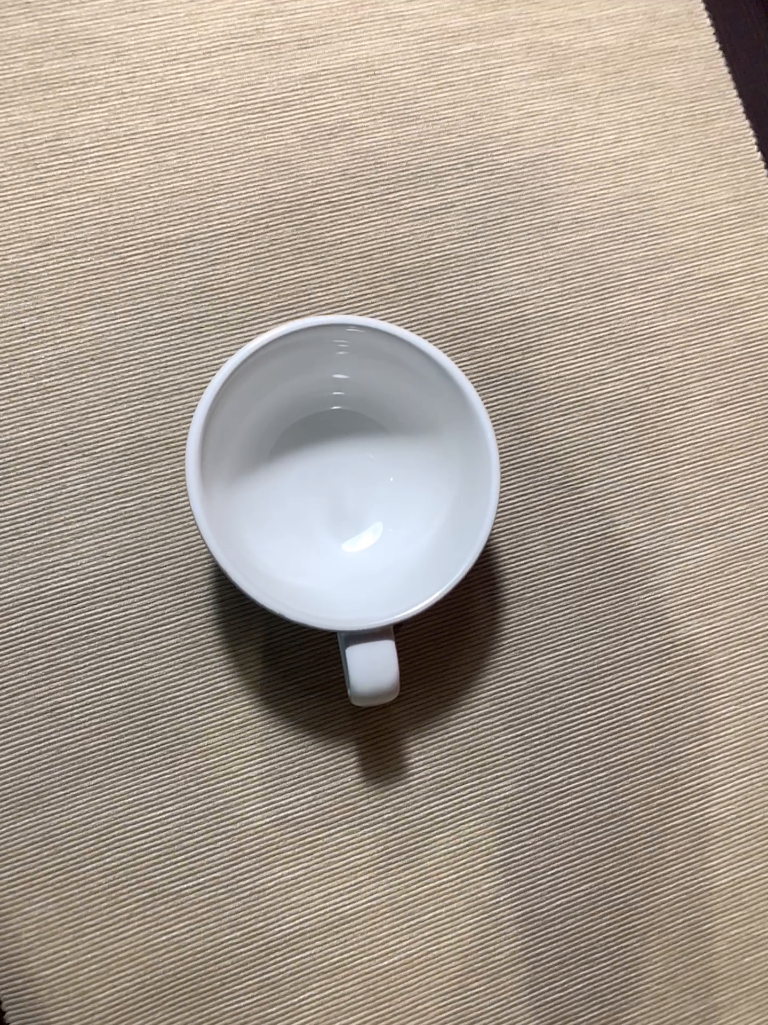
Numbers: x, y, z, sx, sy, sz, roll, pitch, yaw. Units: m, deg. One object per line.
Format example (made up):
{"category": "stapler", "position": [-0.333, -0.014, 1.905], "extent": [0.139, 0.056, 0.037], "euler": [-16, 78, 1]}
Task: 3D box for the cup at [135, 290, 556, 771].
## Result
{"category": "cup", "position": [-0.014, 0.005, 0.231], "extent": [0.090, 0.060, 0.110], "euler": [-9, 83, -8]}
